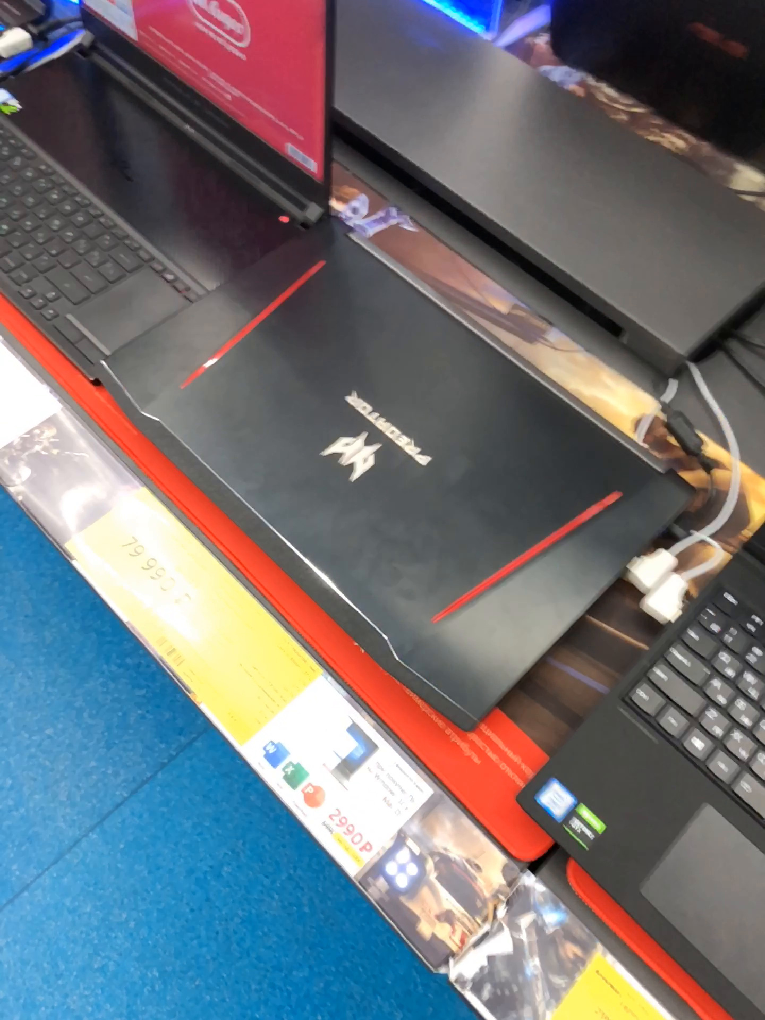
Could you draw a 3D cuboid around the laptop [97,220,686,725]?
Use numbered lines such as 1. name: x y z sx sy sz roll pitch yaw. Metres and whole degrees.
1. laptop: 0.001 -0.058 0.613 0.228 0.004 0.378 -40 70 -23
